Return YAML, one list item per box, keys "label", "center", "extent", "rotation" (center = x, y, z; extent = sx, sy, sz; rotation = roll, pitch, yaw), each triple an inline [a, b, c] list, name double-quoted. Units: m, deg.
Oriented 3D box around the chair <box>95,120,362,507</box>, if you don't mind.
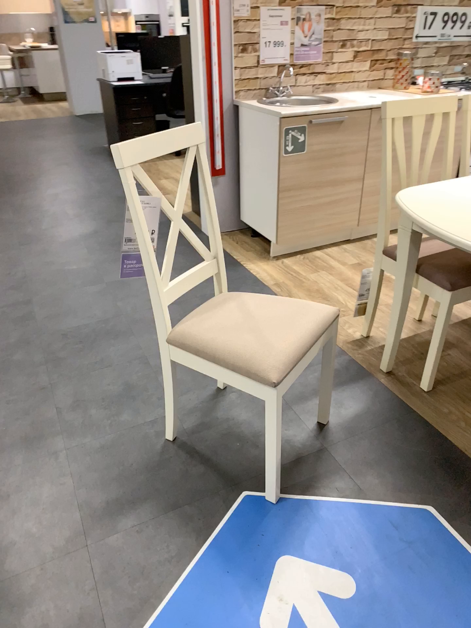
- label: "chair"
  center: [0.000, -0.013, 1.475]
  extent: [0.528, 0.989, 0.437]
  rotation: [17, 35, 28]
